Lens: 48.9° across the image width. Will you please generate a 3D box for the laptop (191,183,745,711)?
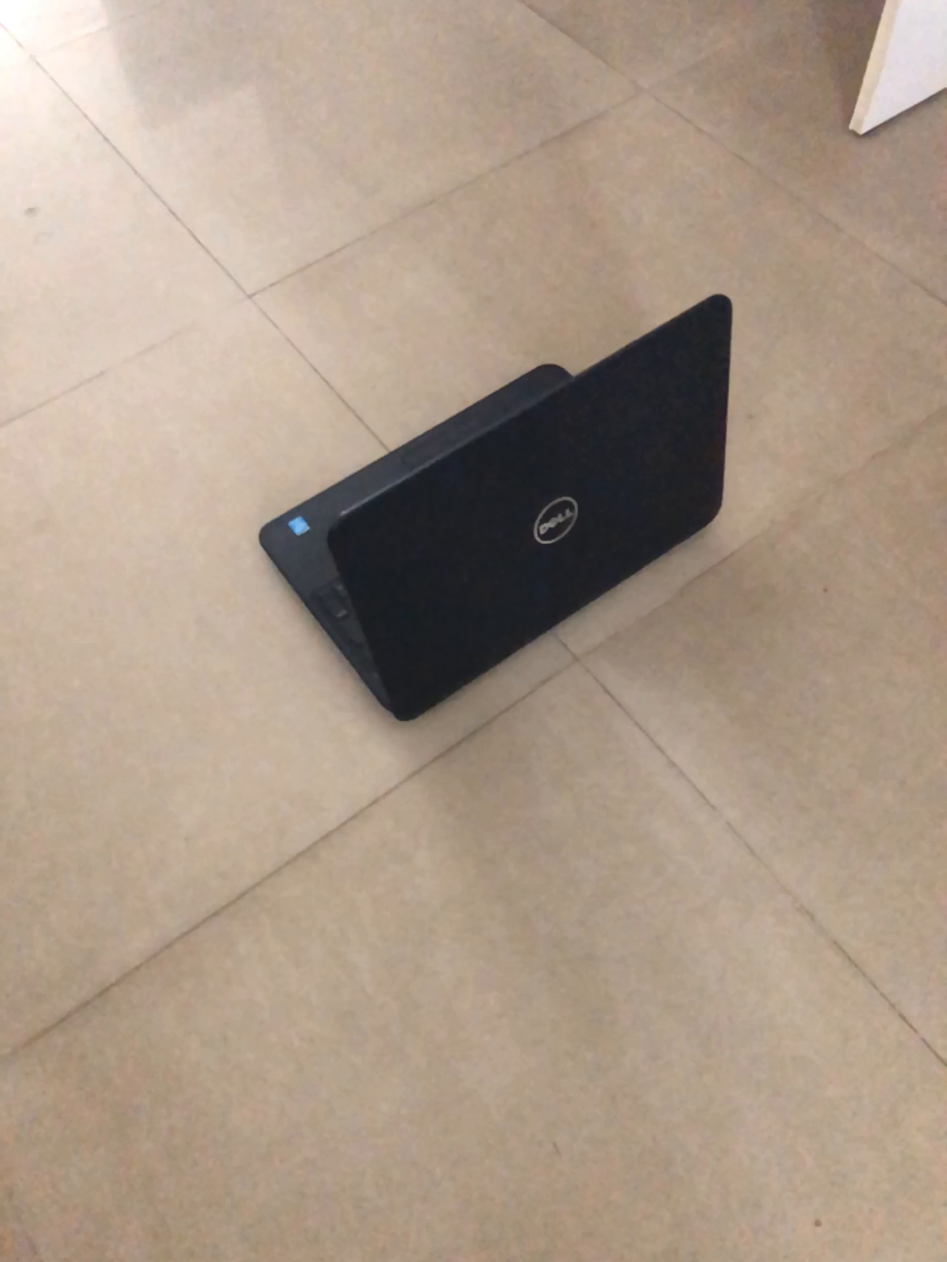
[{"bbox_3d":[-0.003,-0.161,0.901,0.352,0.227,0.248,-33,62,-15],"label":"laptop"}]
